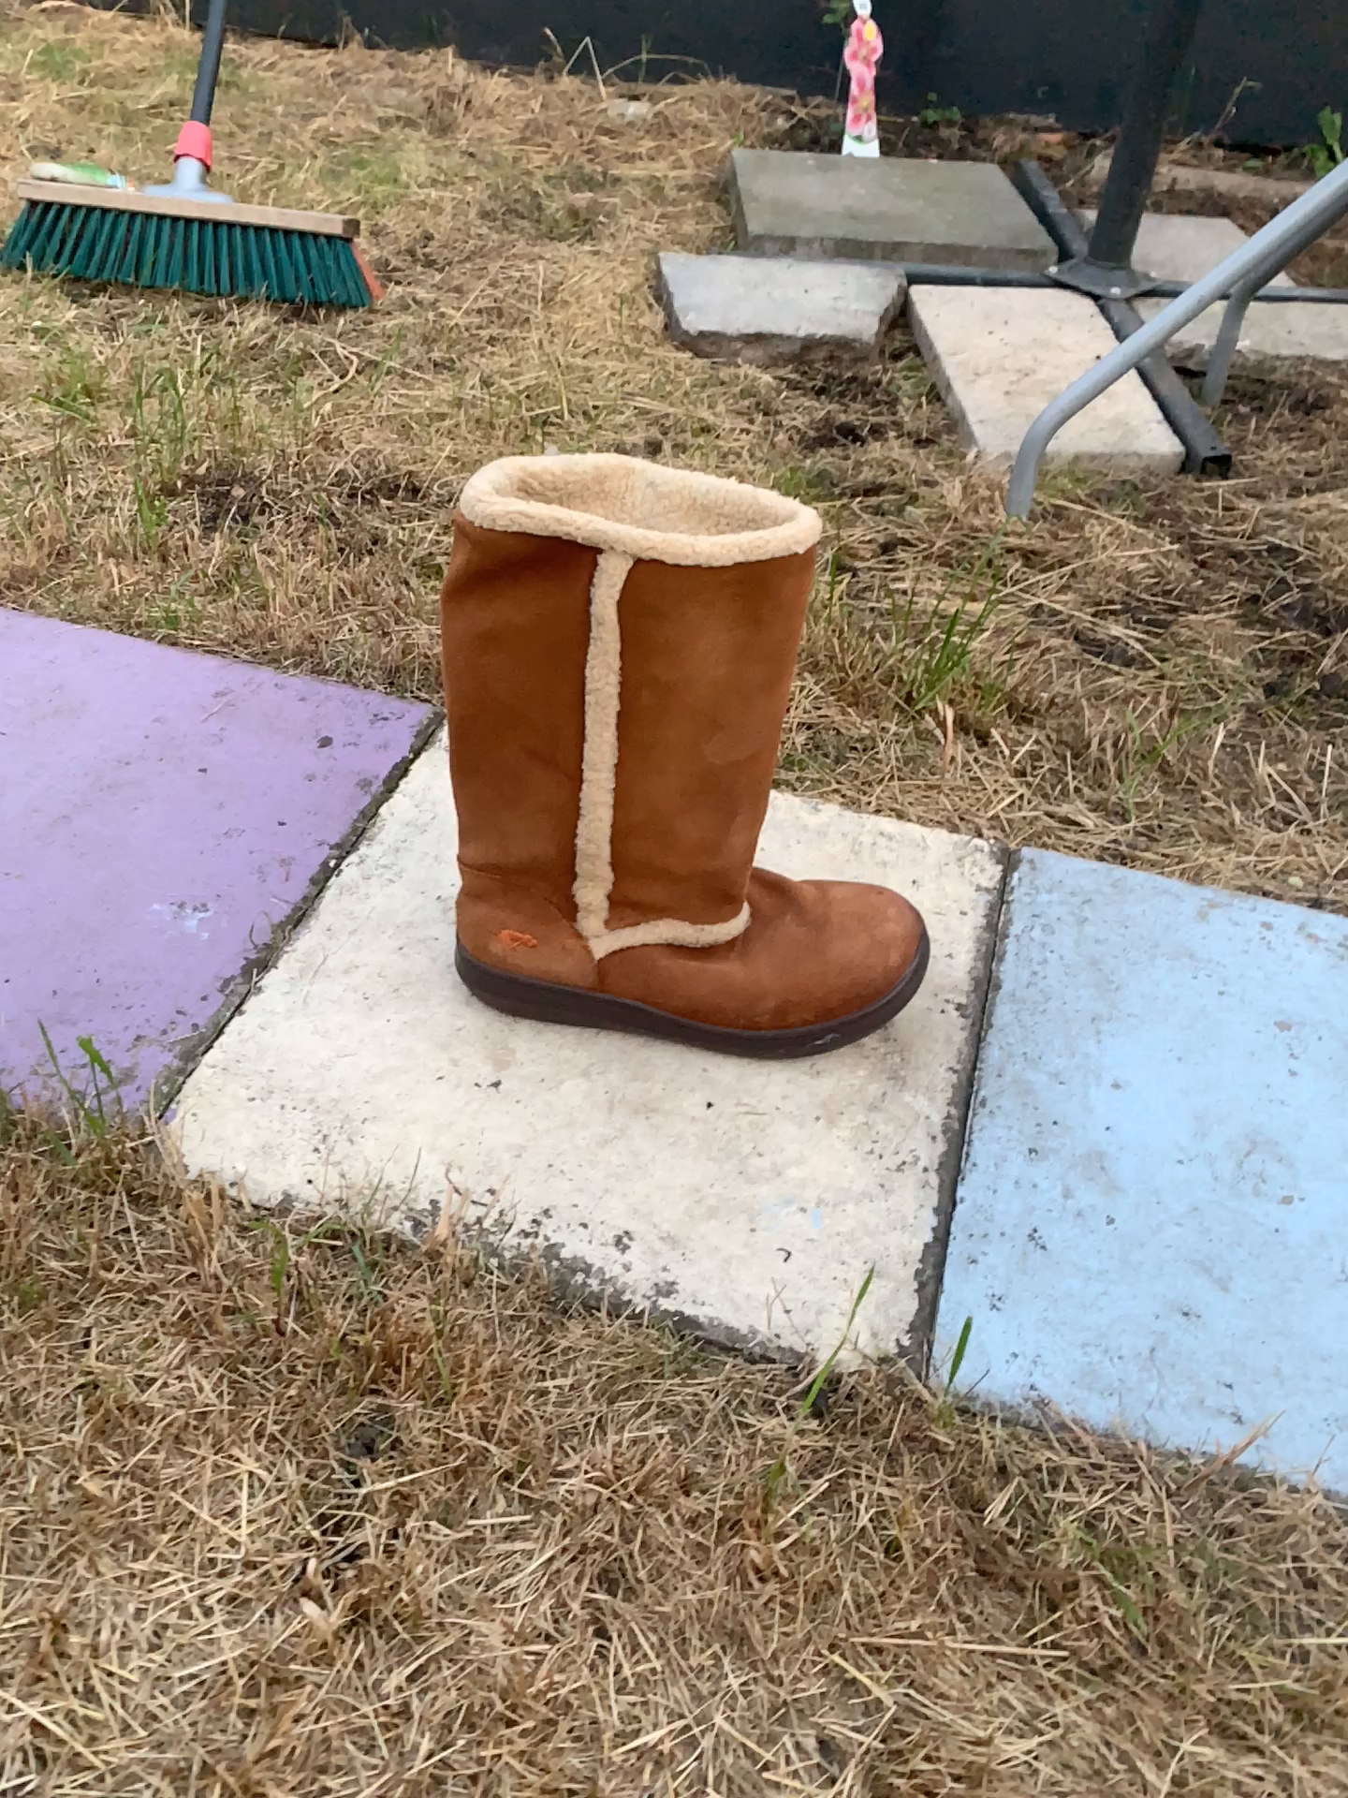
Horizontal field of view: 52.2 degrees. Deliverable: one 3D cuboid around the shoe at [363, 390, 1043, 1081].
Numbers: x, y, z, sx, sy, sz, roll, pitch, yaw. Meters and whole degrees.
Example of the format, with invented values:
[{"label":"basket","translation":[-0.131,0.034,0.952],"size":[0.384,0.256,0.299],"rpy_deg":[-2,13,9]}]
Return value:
[{"label":"shoe","translation":[0.008,-0.066,0.663],"size":[0.260,0.297,0.111],"rpy_deg":[6,41,3]}]
